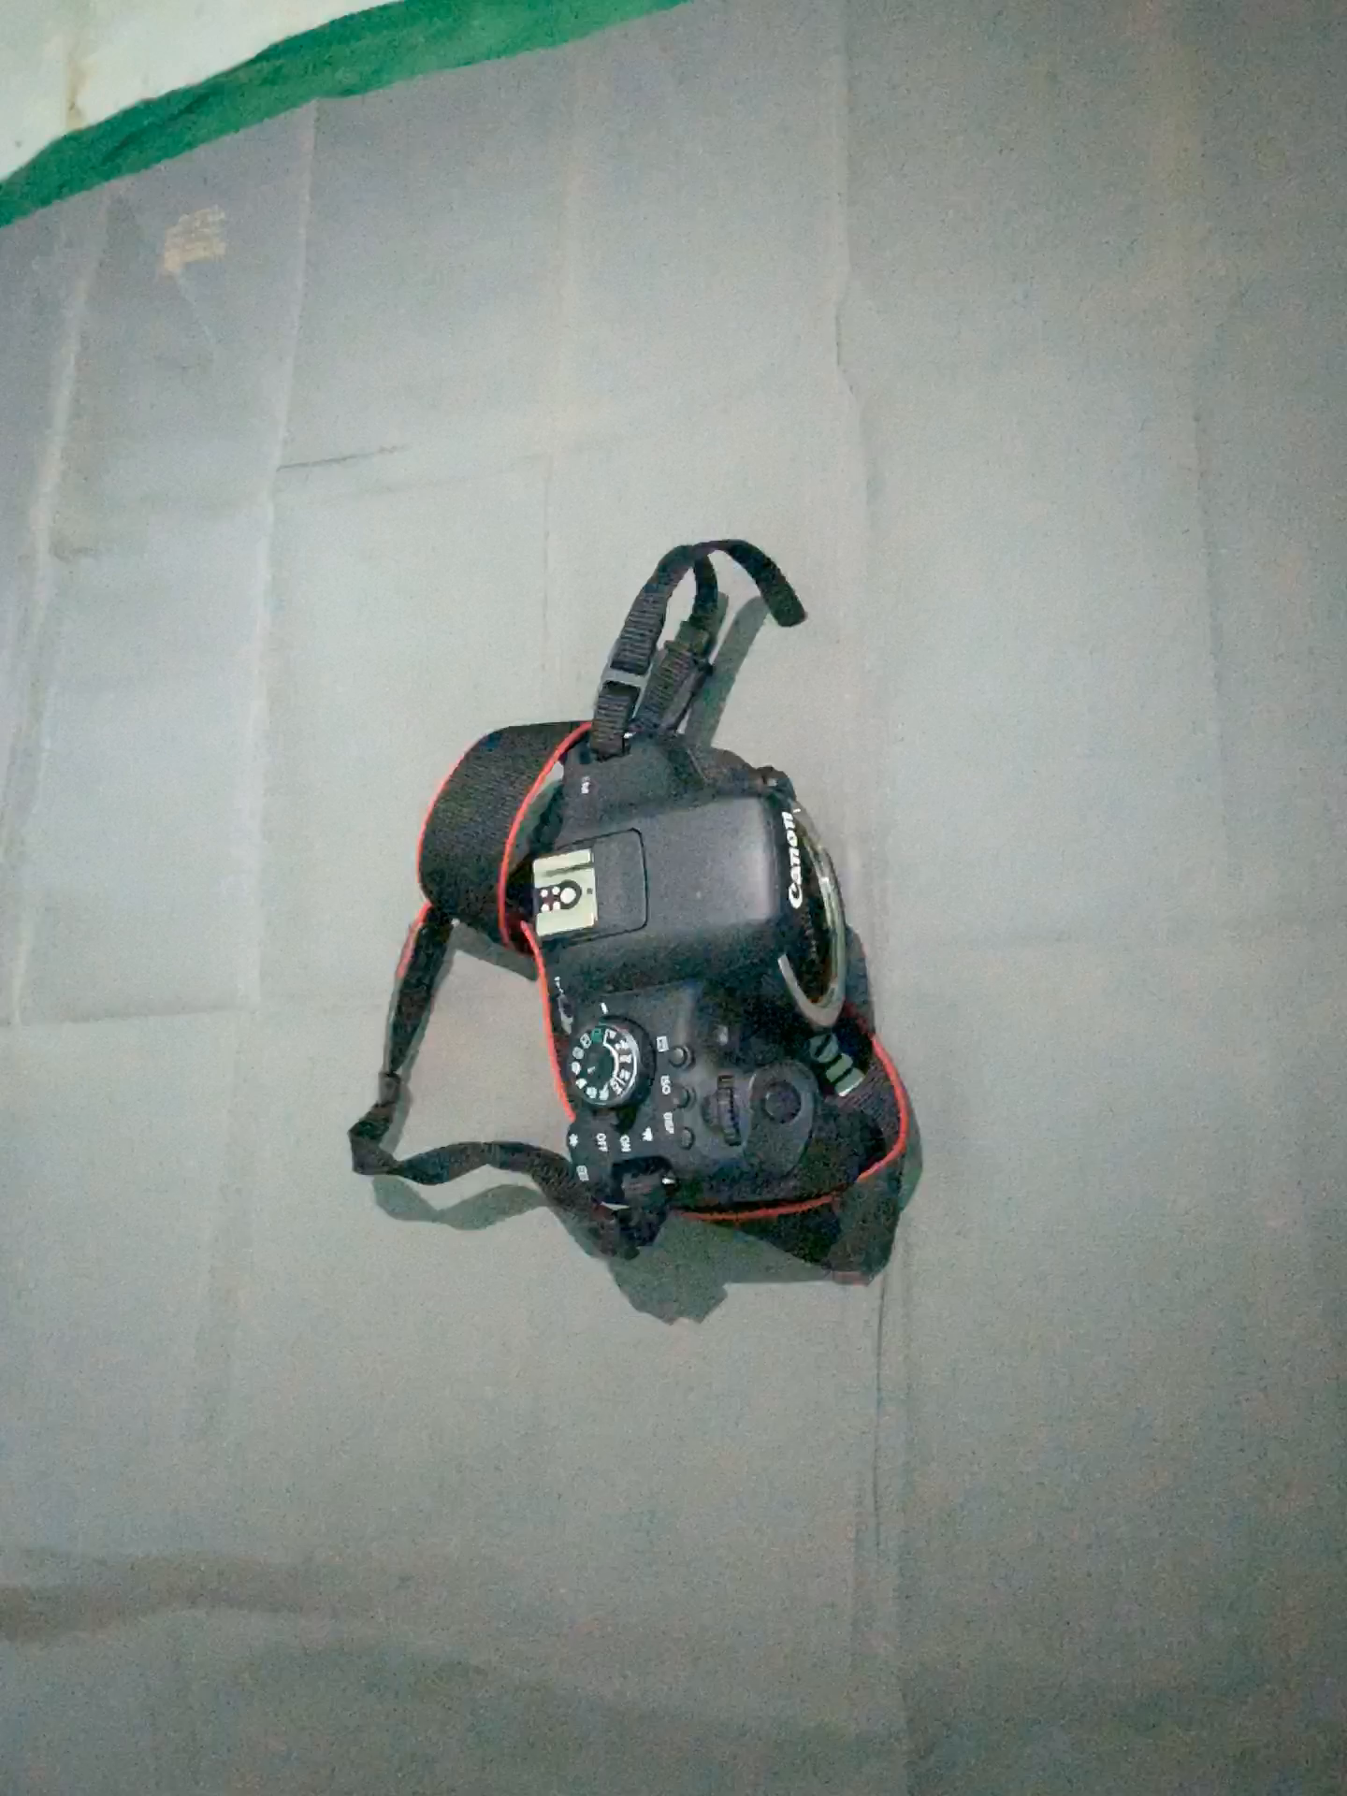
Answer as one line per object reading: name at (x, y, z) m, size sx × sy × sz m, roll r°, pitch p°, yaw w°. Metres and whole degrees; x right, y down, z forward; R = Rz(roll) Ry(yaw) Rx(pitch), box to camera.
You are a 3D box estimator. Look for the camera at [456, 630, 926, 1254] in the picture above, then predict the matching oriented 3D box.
camera at (0.005, 0.019, 0.358) m, size 0.090 × 0.088 × 0.132 m, roll -9°, pitch 71°, yaw 18°
